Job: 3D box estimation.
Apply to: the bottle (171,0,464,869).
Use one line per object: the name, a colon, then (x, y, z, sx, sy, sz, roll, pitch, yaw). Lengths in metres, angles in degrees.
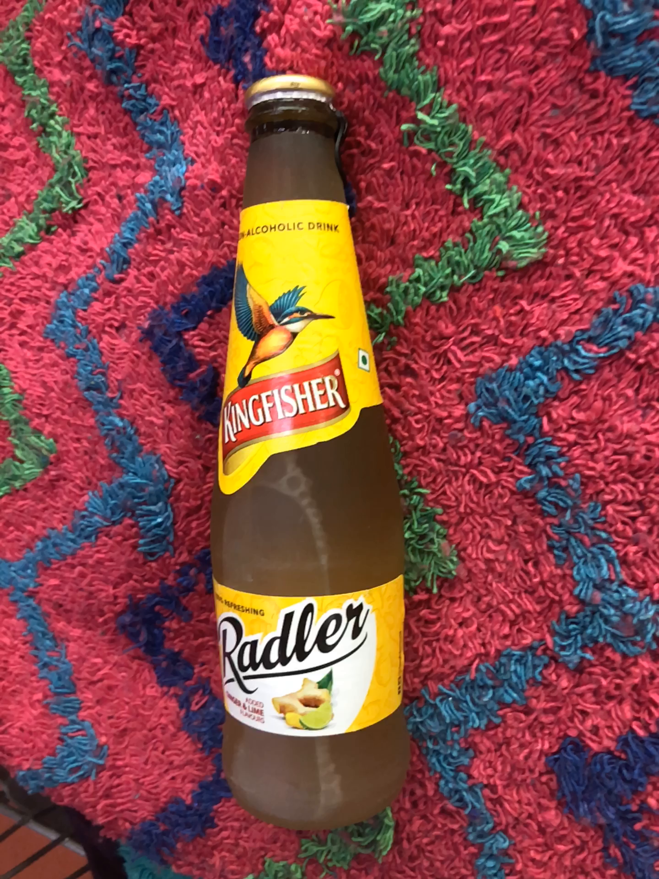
bottle: (0.001, -0.001, 0.213, 0.060, 0.060, 0.210, 1, 96, 25)
